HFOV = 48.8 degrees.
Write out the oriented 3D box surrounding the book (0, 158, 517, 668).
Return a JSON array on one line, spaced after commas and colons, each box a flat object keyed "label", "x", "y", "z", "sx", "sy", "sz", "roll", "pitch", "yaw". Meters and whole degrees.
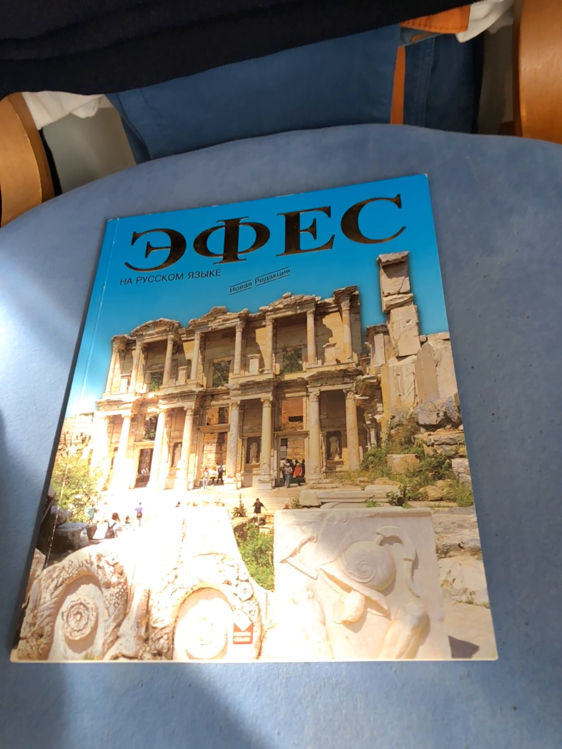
[{"label": "book", "x": -0.014, "y": 0.004, "z": 0.292, "sx": 0.196, "sy": 0.020, "sz": 0.241, "roll": -5, "pitch": 60, "yaw": 10}]
